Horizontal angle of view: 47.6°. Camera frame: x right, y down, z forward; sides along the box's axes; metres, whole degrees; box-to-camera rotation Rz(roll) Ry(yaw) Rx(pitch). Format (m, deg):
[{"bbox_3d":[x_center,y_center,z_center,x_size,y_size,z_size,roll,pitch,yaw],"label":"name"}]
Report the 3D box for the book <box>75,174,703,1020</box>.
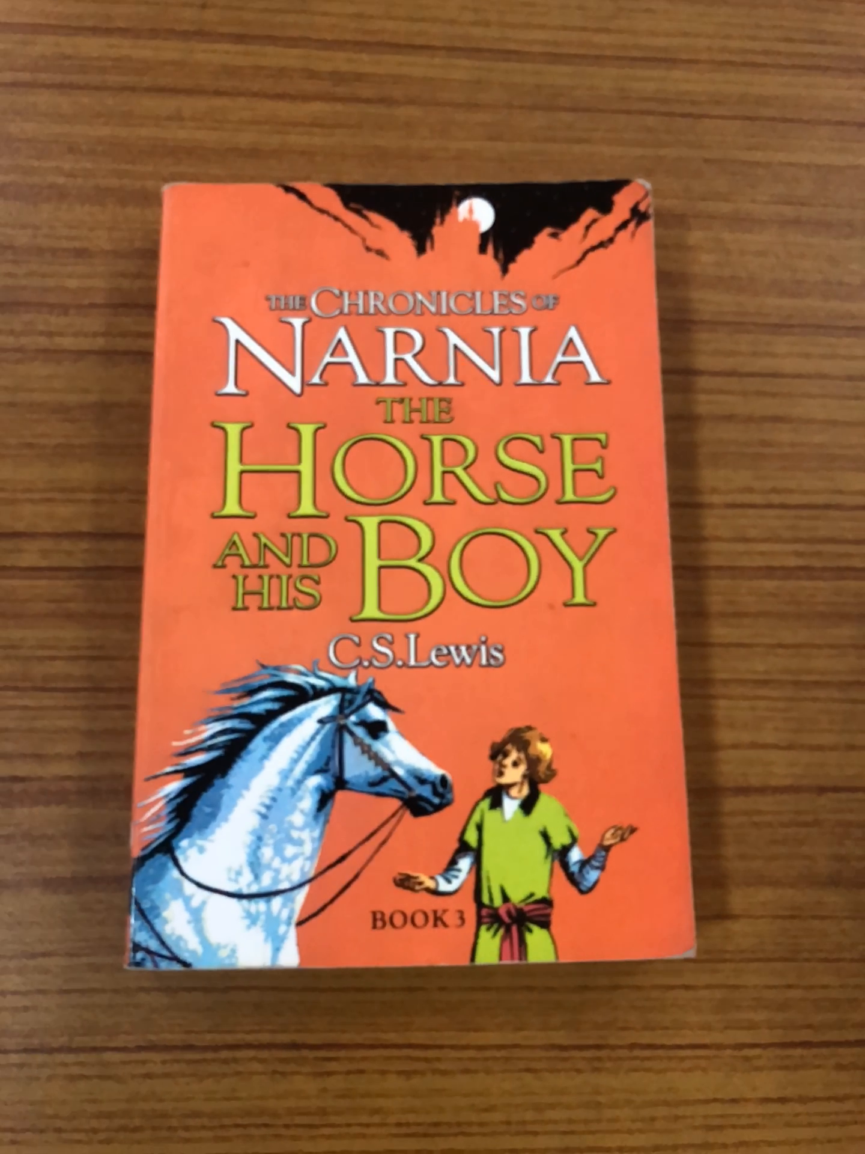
[{"bbox_3d":[-0.010,-0.001,0.236,0.130,0.030,0.190,0,79,-4],"label":"book"}]
